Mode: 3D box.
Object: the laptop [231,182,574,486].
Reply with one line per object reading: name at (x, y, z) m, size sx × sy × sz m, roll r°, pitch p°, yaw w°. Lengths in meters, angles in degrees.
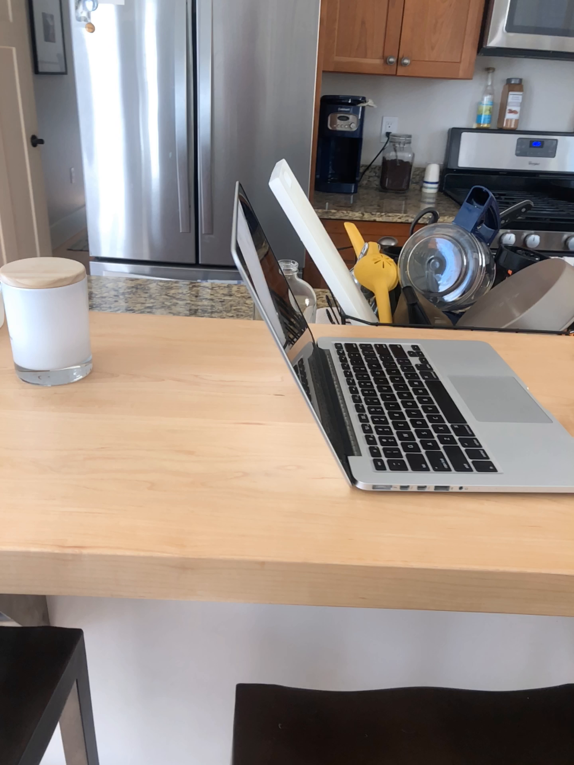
laptop at (0.110, -0.072, 0.638) m, size 0.323 × 0.188 × 0.324 m, roll 1°, pitch 26°, yaw -4°
